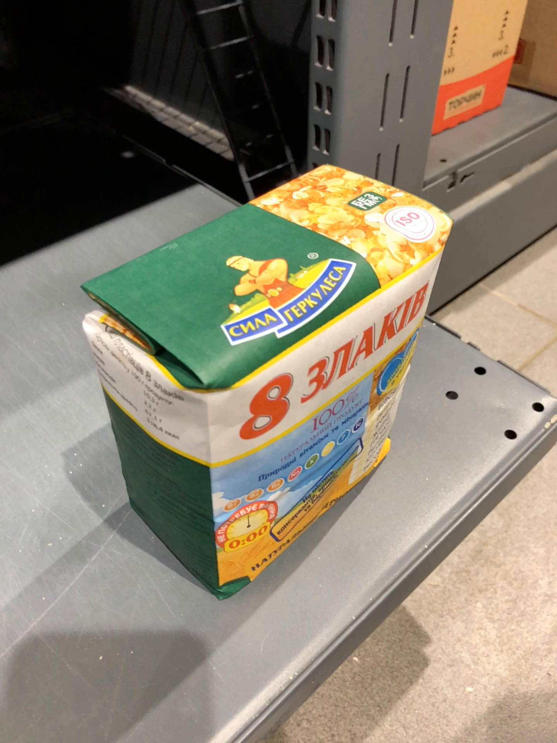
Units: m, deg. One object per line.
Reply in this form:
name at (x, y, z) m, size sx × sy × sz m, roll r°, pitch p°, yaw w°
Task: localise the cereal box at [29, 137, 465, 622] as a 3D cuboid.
cereal box at (-0.005, 0.002, 0.240) m, size 0.121 × 0.129 × 0.070 m, roll -35°, pitch 54°, yaw -30°
